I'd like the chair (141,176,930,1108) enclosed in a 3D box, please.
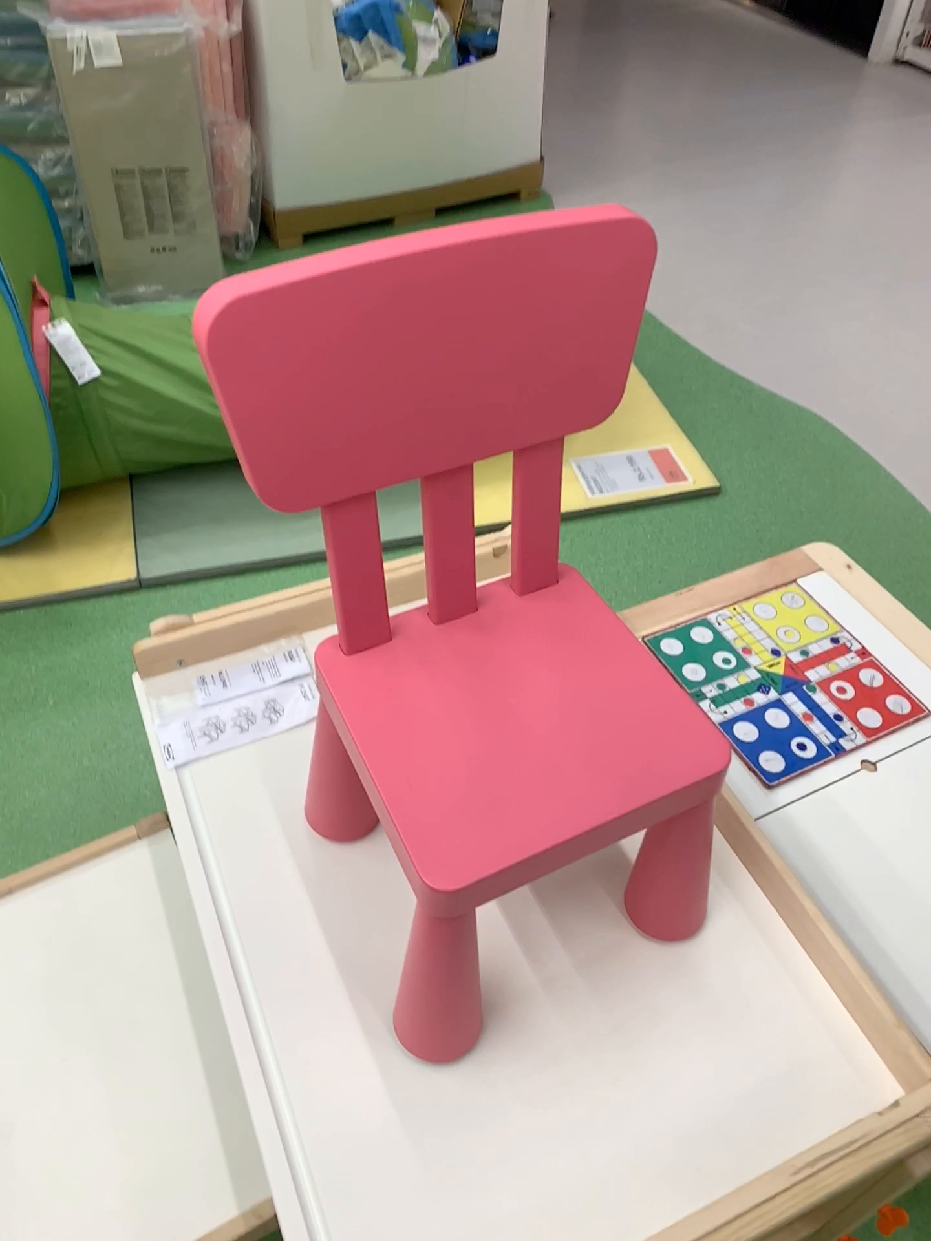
[{"bbox_3d":[0.043,0.031,0.811,0.420,0.598,0.401,-18,50,-19],"label":"chair"}]
